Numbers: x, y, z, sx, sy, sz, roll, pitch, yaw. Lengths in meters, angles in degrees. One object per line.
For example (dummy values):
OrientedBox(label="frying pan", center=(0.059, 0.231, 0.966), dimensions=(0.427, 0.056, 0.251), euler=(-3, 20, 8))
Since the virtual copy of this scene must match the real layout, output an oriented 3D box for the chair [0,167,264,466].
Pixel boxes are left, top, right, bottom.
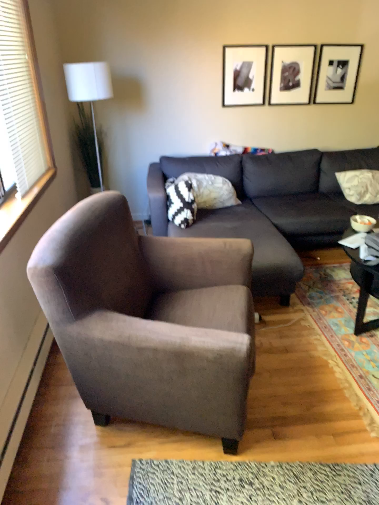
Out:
OrientedBox(label="chair", center=(-0.109, 0.191, 1.691), dimensions=(0.800, 0.875, 0.884), euler=(0, 27, 8))
